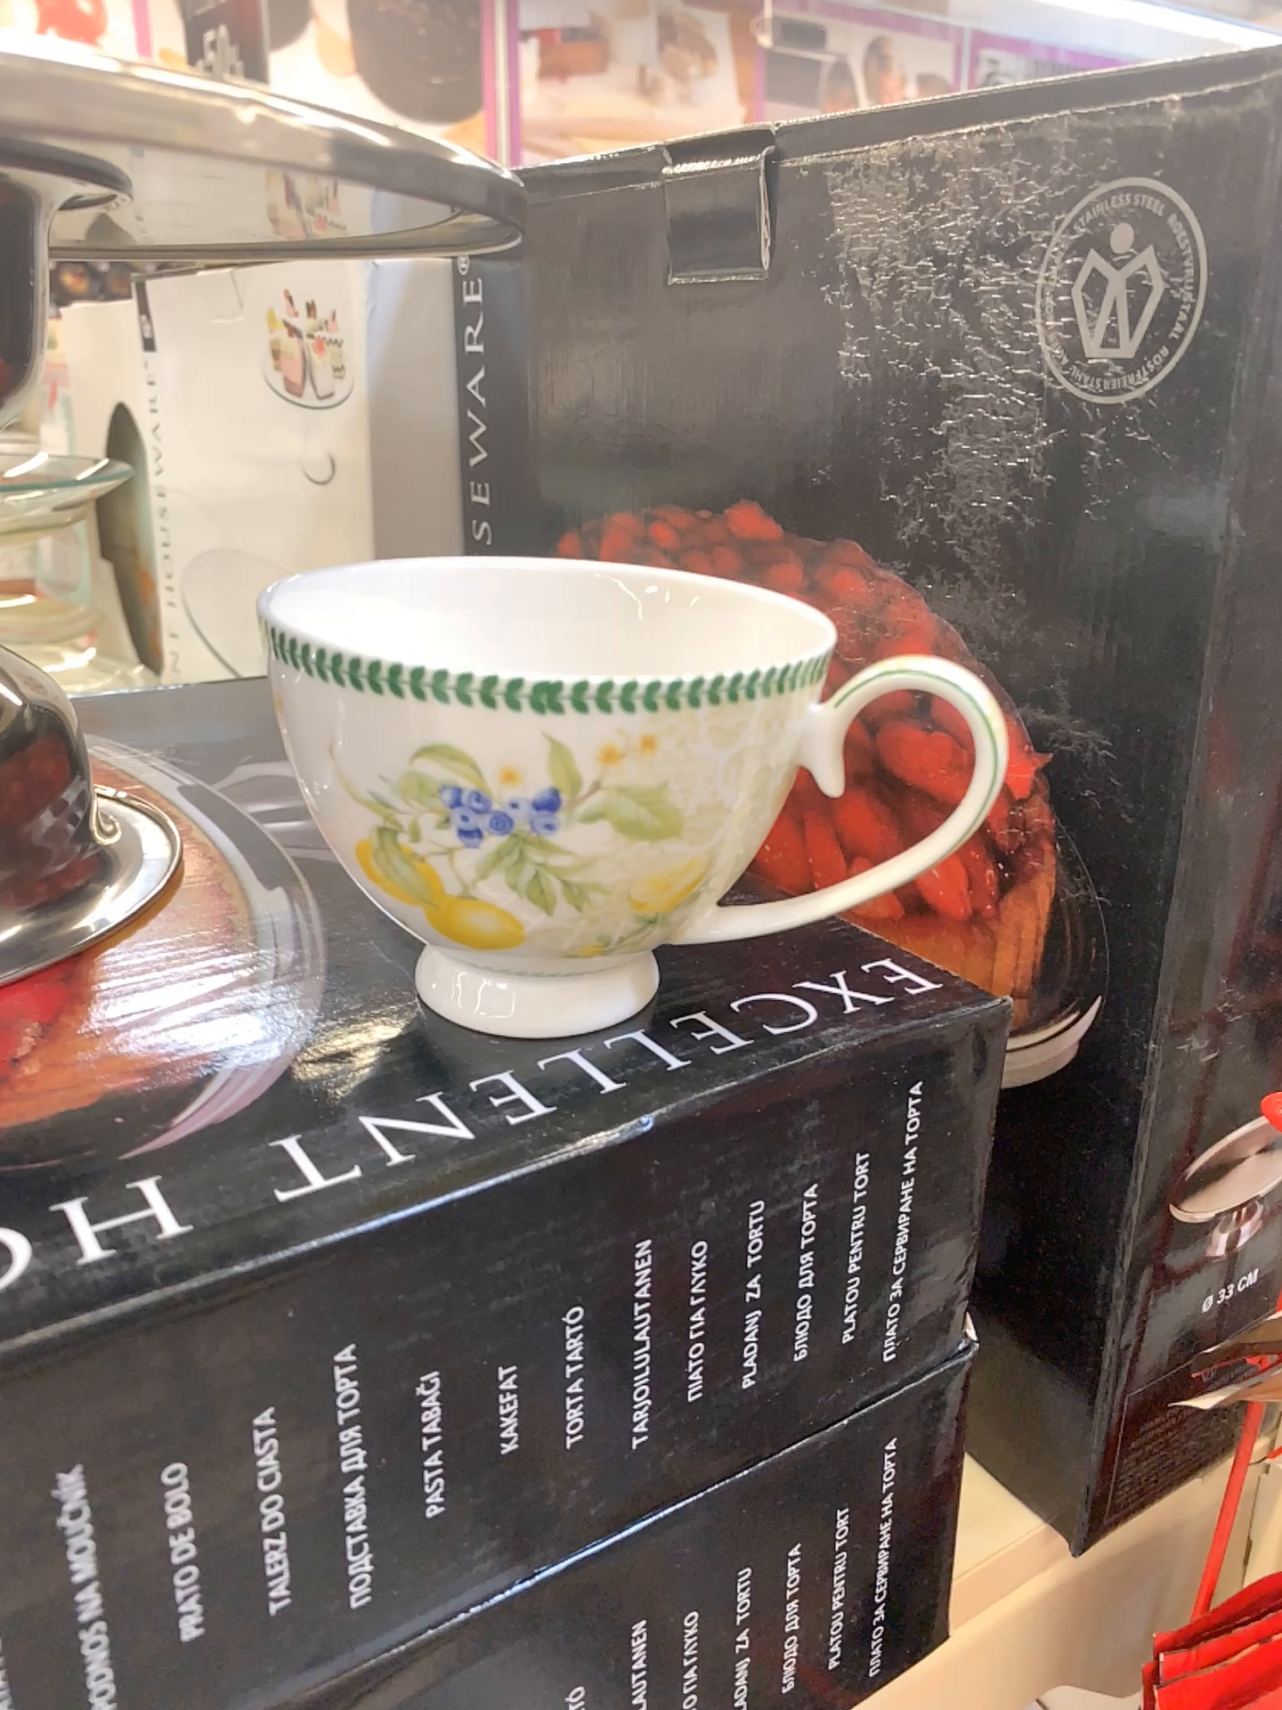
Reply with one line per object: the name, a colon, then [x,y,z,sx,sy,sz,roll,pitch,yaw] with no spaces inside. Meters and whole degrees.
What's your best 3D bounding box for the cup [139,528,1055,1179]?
cup: [-0.001,-0.013,0.242,0.130,0.070,0.100,10,22,19]
